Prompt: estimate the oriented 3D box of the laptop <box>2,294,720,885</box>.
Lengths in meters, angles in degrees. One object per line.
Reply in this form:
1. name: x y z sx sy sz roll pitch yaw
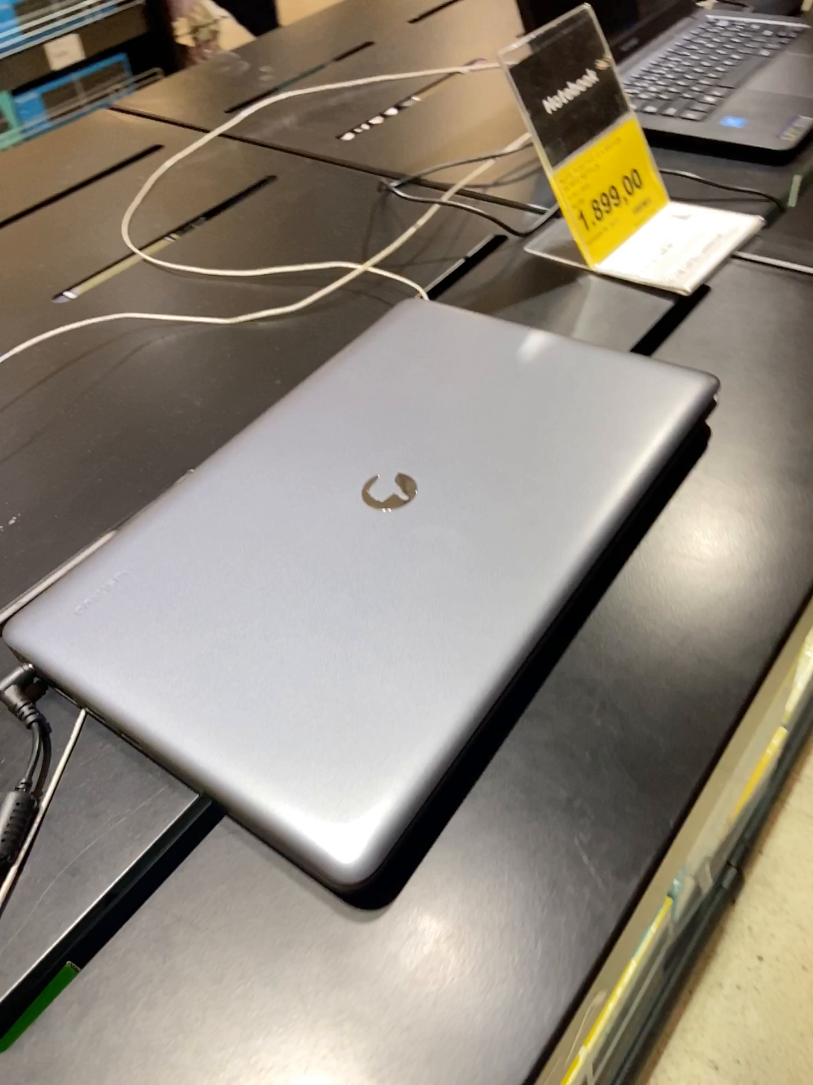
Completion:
1. laptop: -0.008 -0.024 0.427 0.213 0.001 0.331 24 54 28
